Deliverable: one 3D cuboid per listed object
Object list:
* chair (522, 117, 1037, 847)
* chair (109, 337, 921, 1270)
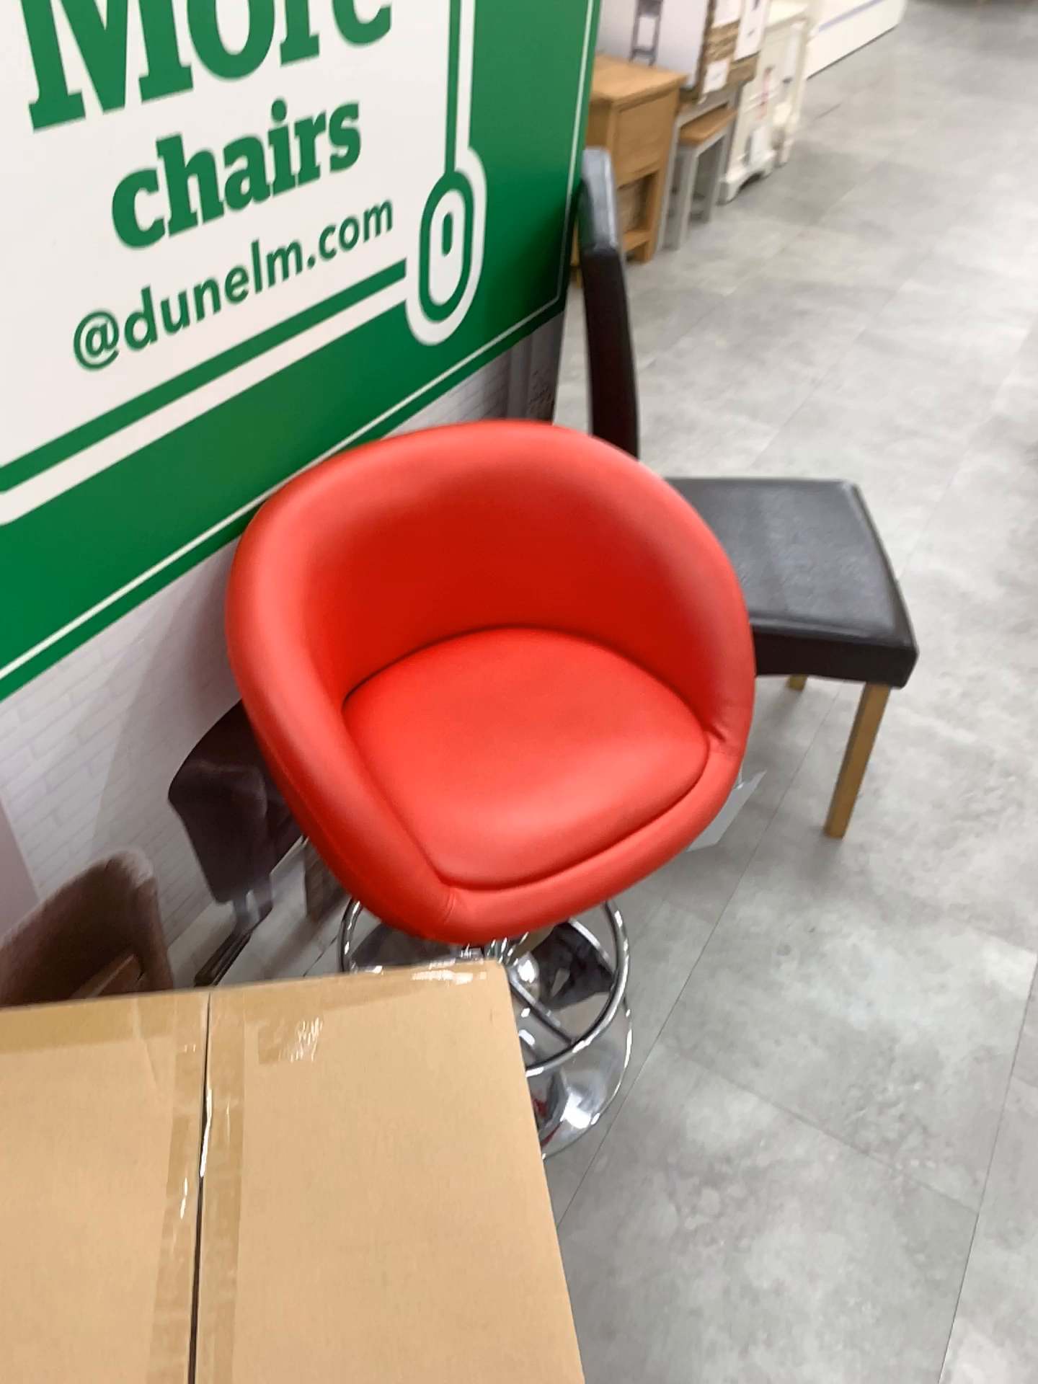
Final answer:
[{"bbox_3d":[0.300,-0.262,1.518,0.530,0.853,0.509,3,42,-3],"label":"chair"},{"bbox_3d":[-0.017,0.116,1.170,0.537,0.744,0.463,-31,53,-33],"label":"chair"}]
